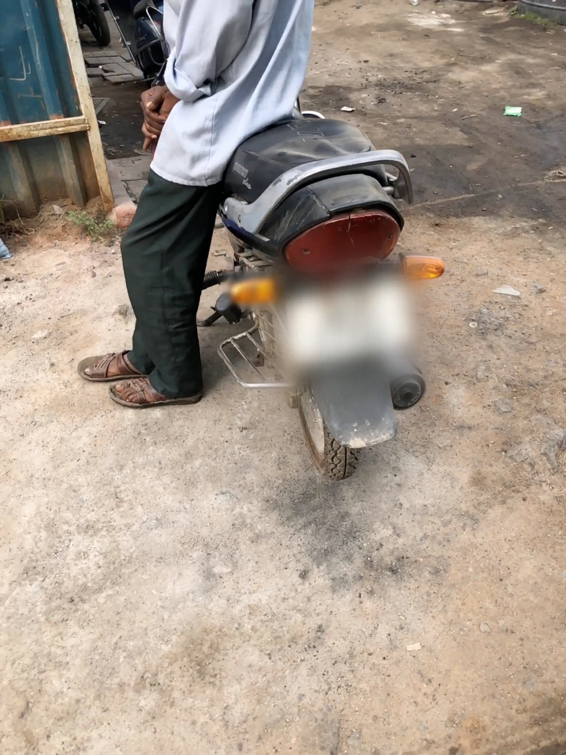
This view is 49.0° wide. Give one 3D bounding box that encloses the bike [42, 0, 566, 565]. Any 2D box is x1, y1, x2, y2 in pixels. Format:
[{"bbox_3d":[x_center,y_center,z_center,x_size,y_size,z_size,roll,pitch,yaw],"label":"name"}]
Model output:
[{"bbox_3d":[-0.130,-0.641,1.795,0.785,1.154,1.809,-12,40,-11],"label":"bike"}]
